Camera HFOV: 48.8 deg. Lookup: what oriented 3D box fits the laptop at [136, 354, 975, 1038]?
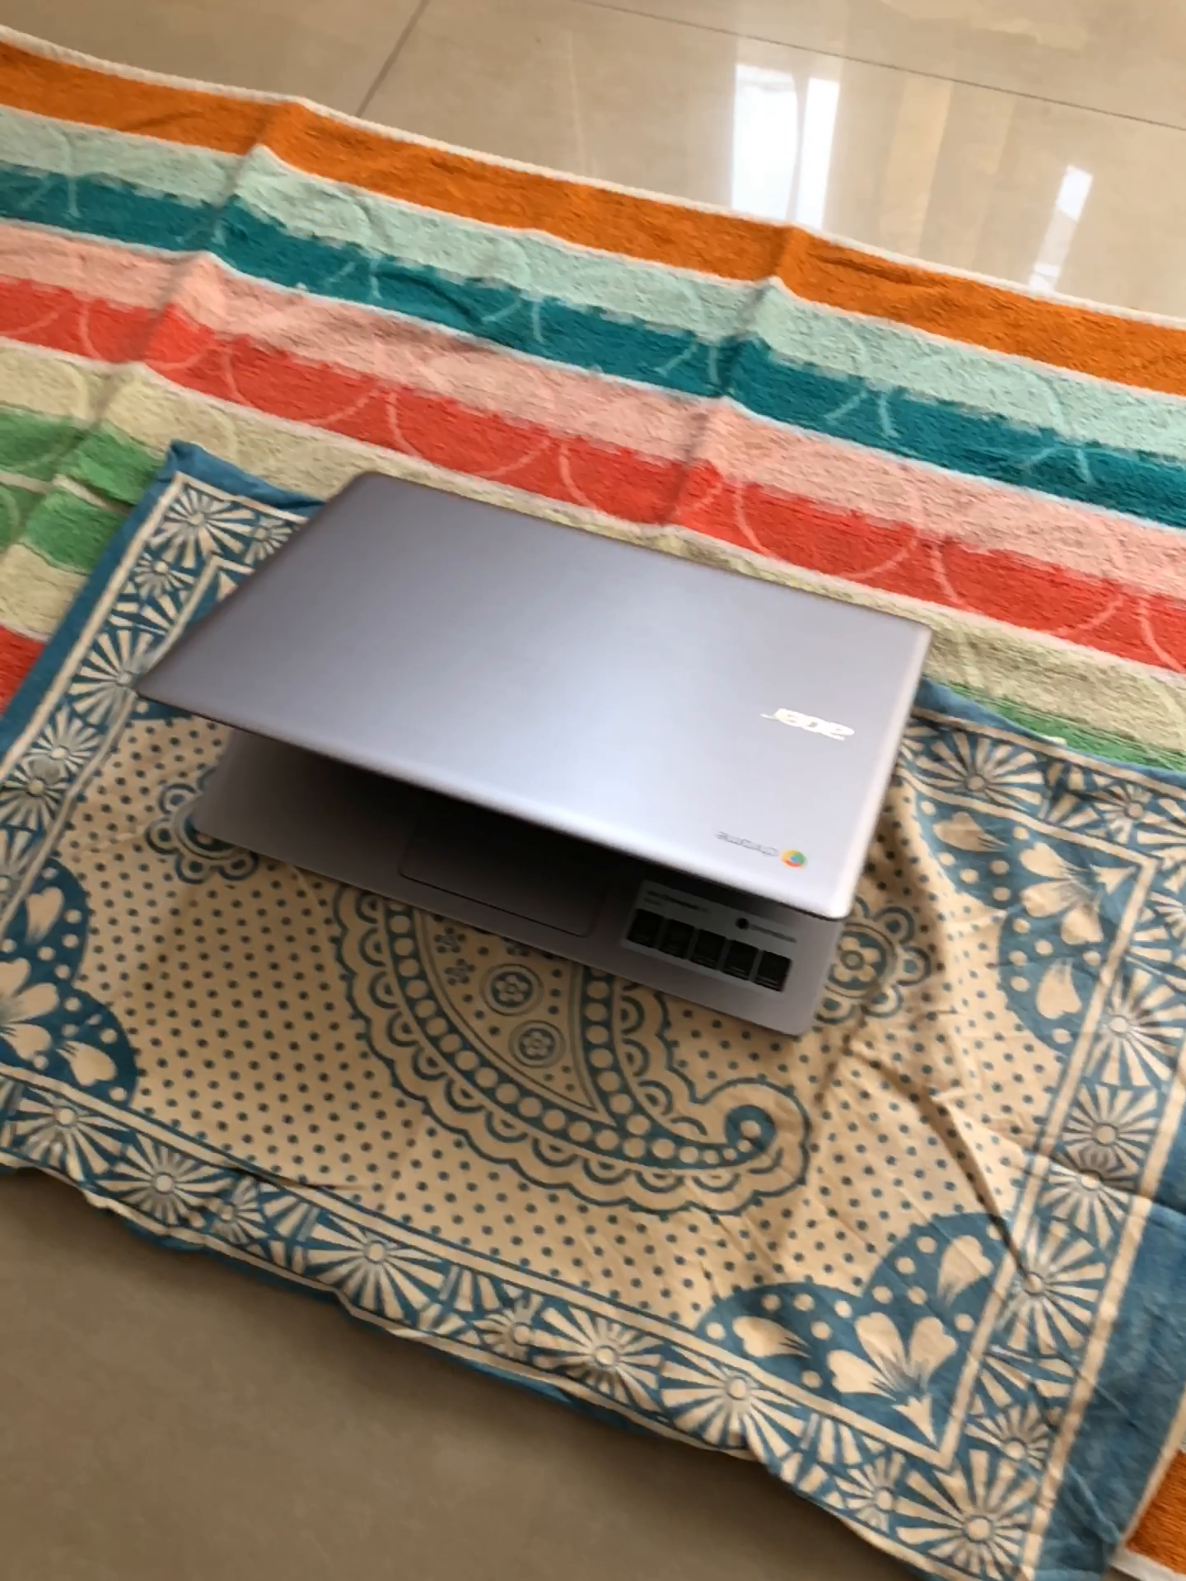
[{"bbox_3d":[-0.012,-0.050,0.634,0.319,0.105,0.222,18,72,12],"label":"laptop"}]
